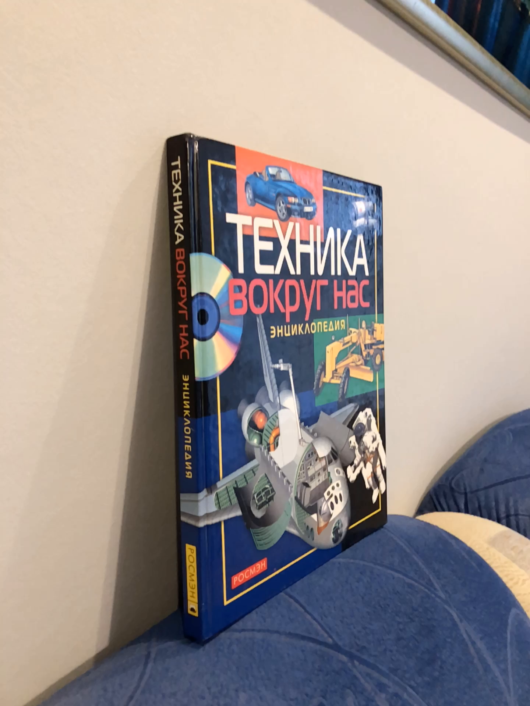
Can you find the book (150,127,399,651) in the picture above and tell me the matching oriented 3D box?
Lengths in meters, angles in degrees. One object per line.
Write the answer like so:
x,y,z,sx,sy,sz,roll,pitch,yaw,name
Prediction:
0.025,0.013,0.402,0.030,0.280,0.221,2,6,40,book
